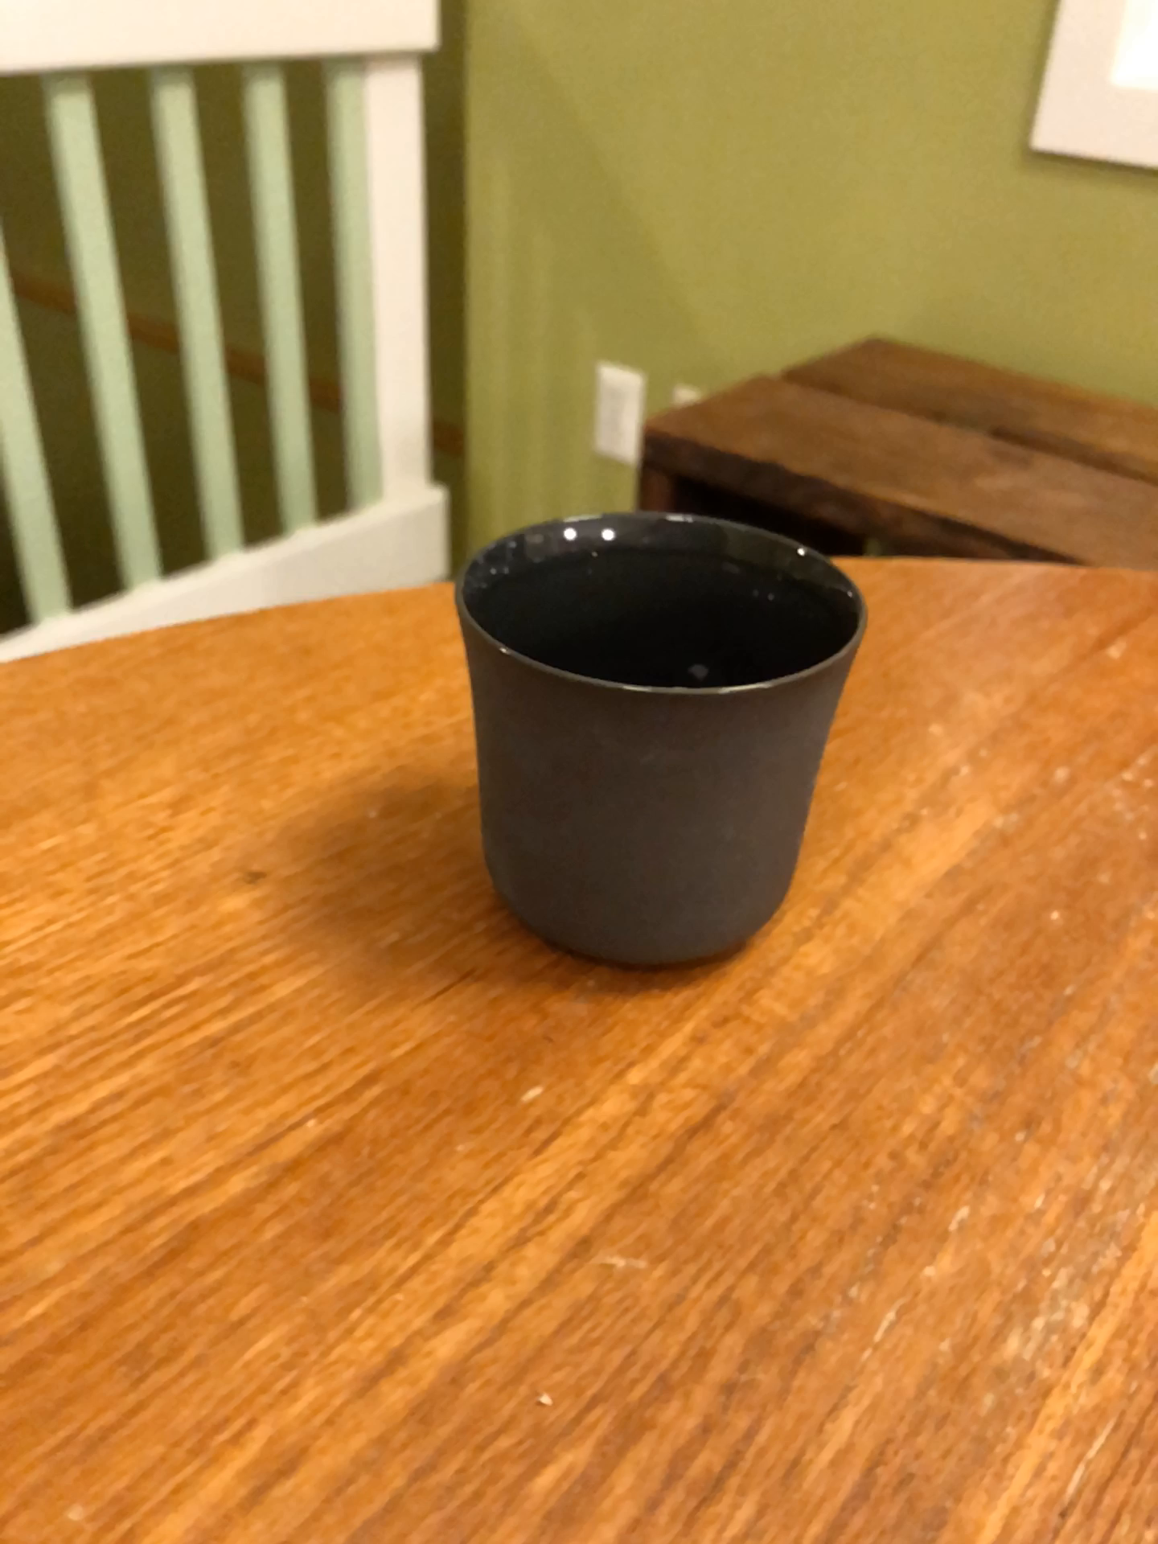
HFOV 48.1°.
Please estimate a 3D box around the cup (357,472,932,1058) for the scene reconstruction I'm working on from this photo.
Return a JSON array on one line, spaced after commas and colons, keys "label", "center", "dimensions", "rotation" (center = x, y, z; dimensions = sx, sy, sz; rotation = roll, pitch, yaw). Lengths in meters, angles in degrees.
[{"label": "cup", "center": [0.013, -0.007, 0.256], "dimensions": [0.079, 0.068, 0.075], "rotation": [2, 33, -1]}]
